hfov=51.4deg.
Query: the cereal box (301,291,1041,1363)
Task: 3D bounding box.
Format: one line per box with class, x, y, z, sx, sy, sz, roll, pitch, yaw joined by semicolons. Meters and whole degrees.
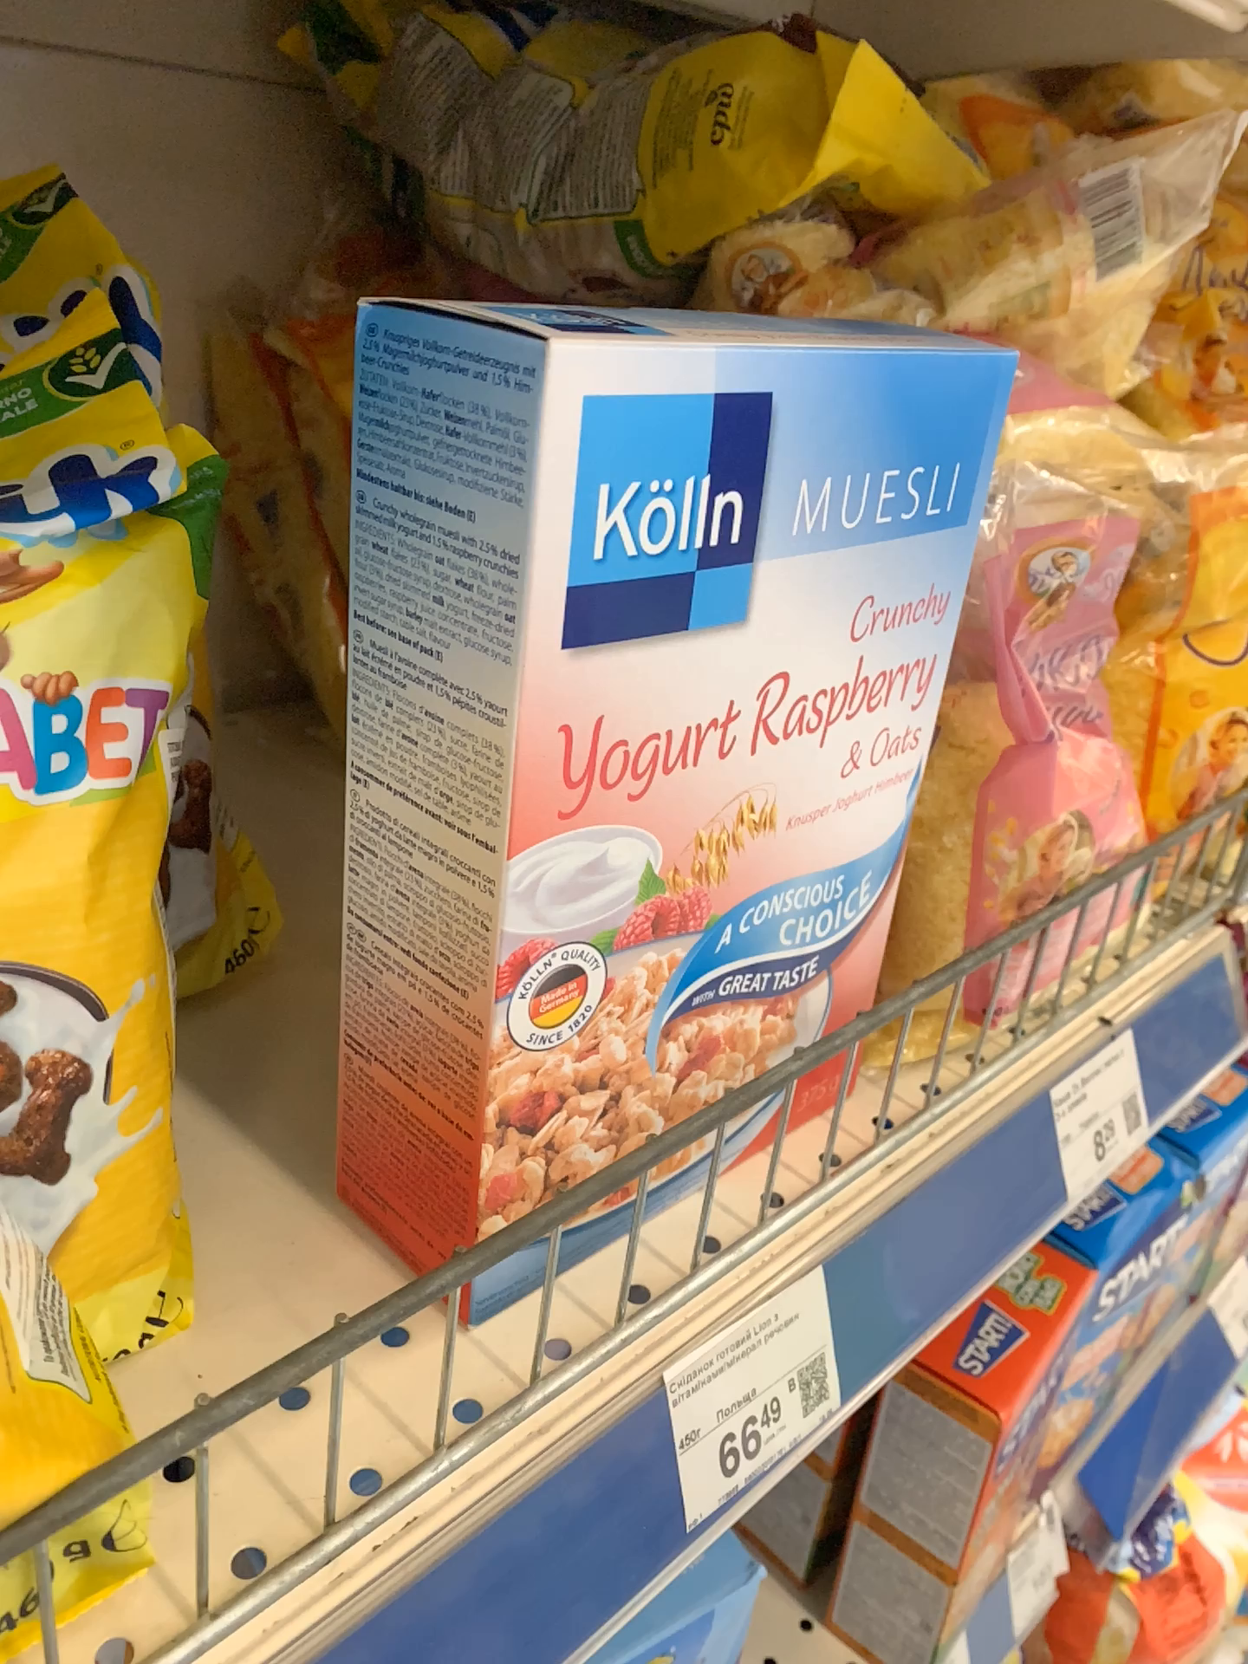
cereal box;0.007;-0.008;0.304;0.151;0.208;0.060;-17;35;-41
